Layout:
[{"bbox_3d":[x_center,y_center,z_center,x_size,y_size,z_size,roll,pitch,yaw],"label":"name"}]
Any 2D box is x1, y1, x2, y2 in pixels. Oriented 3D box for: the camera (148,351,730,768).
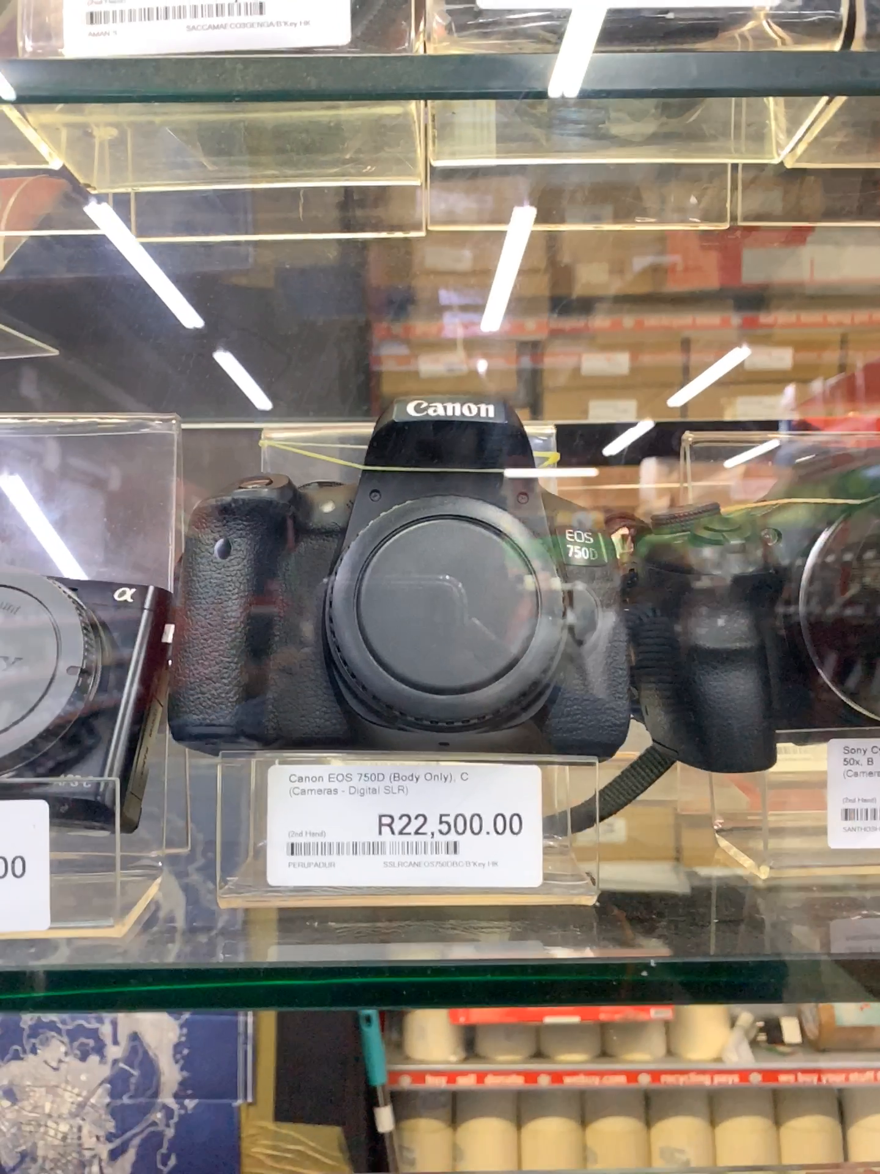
[{"bbox_3d":[-0.001,-0.005,0.243,0.130,0.090,0.070,2,-2,-5],"label":"camera"}]
